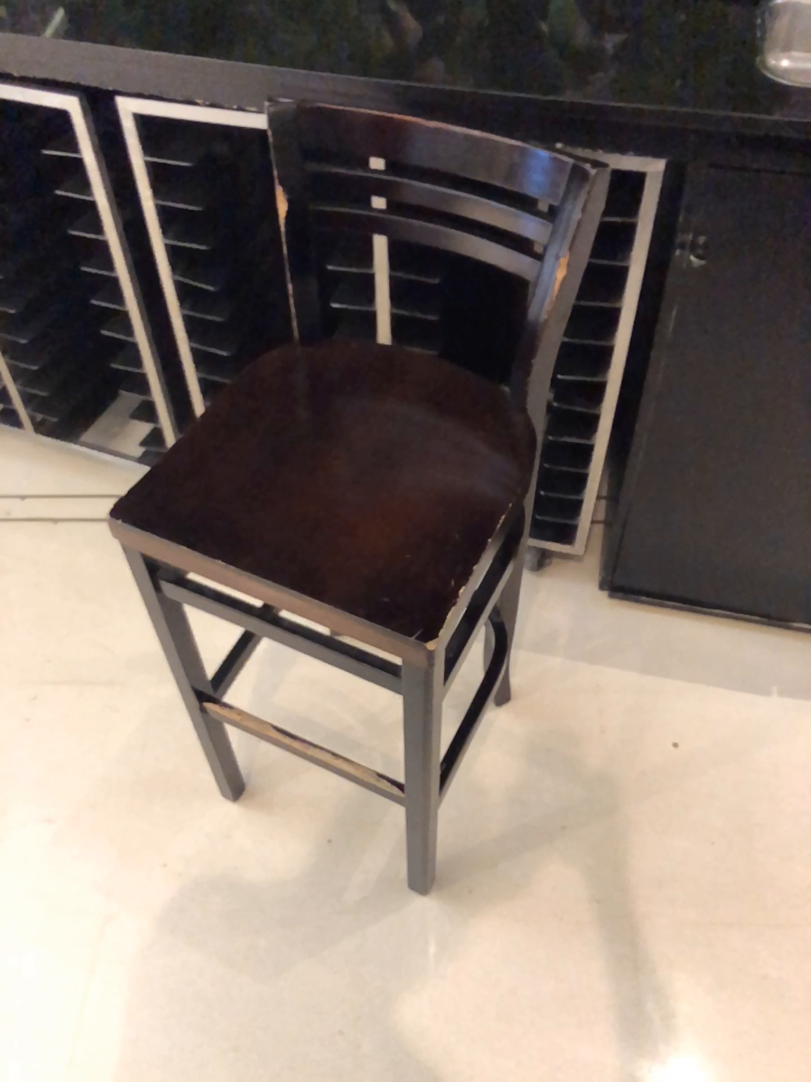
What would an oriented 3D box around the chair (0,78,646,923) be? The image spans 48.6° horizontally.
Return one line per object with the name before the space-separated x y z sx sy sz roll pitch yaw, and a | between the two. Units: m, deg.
chair | -0.057 0.015 1.134 0.441 0.914 0.452 20 52 19
